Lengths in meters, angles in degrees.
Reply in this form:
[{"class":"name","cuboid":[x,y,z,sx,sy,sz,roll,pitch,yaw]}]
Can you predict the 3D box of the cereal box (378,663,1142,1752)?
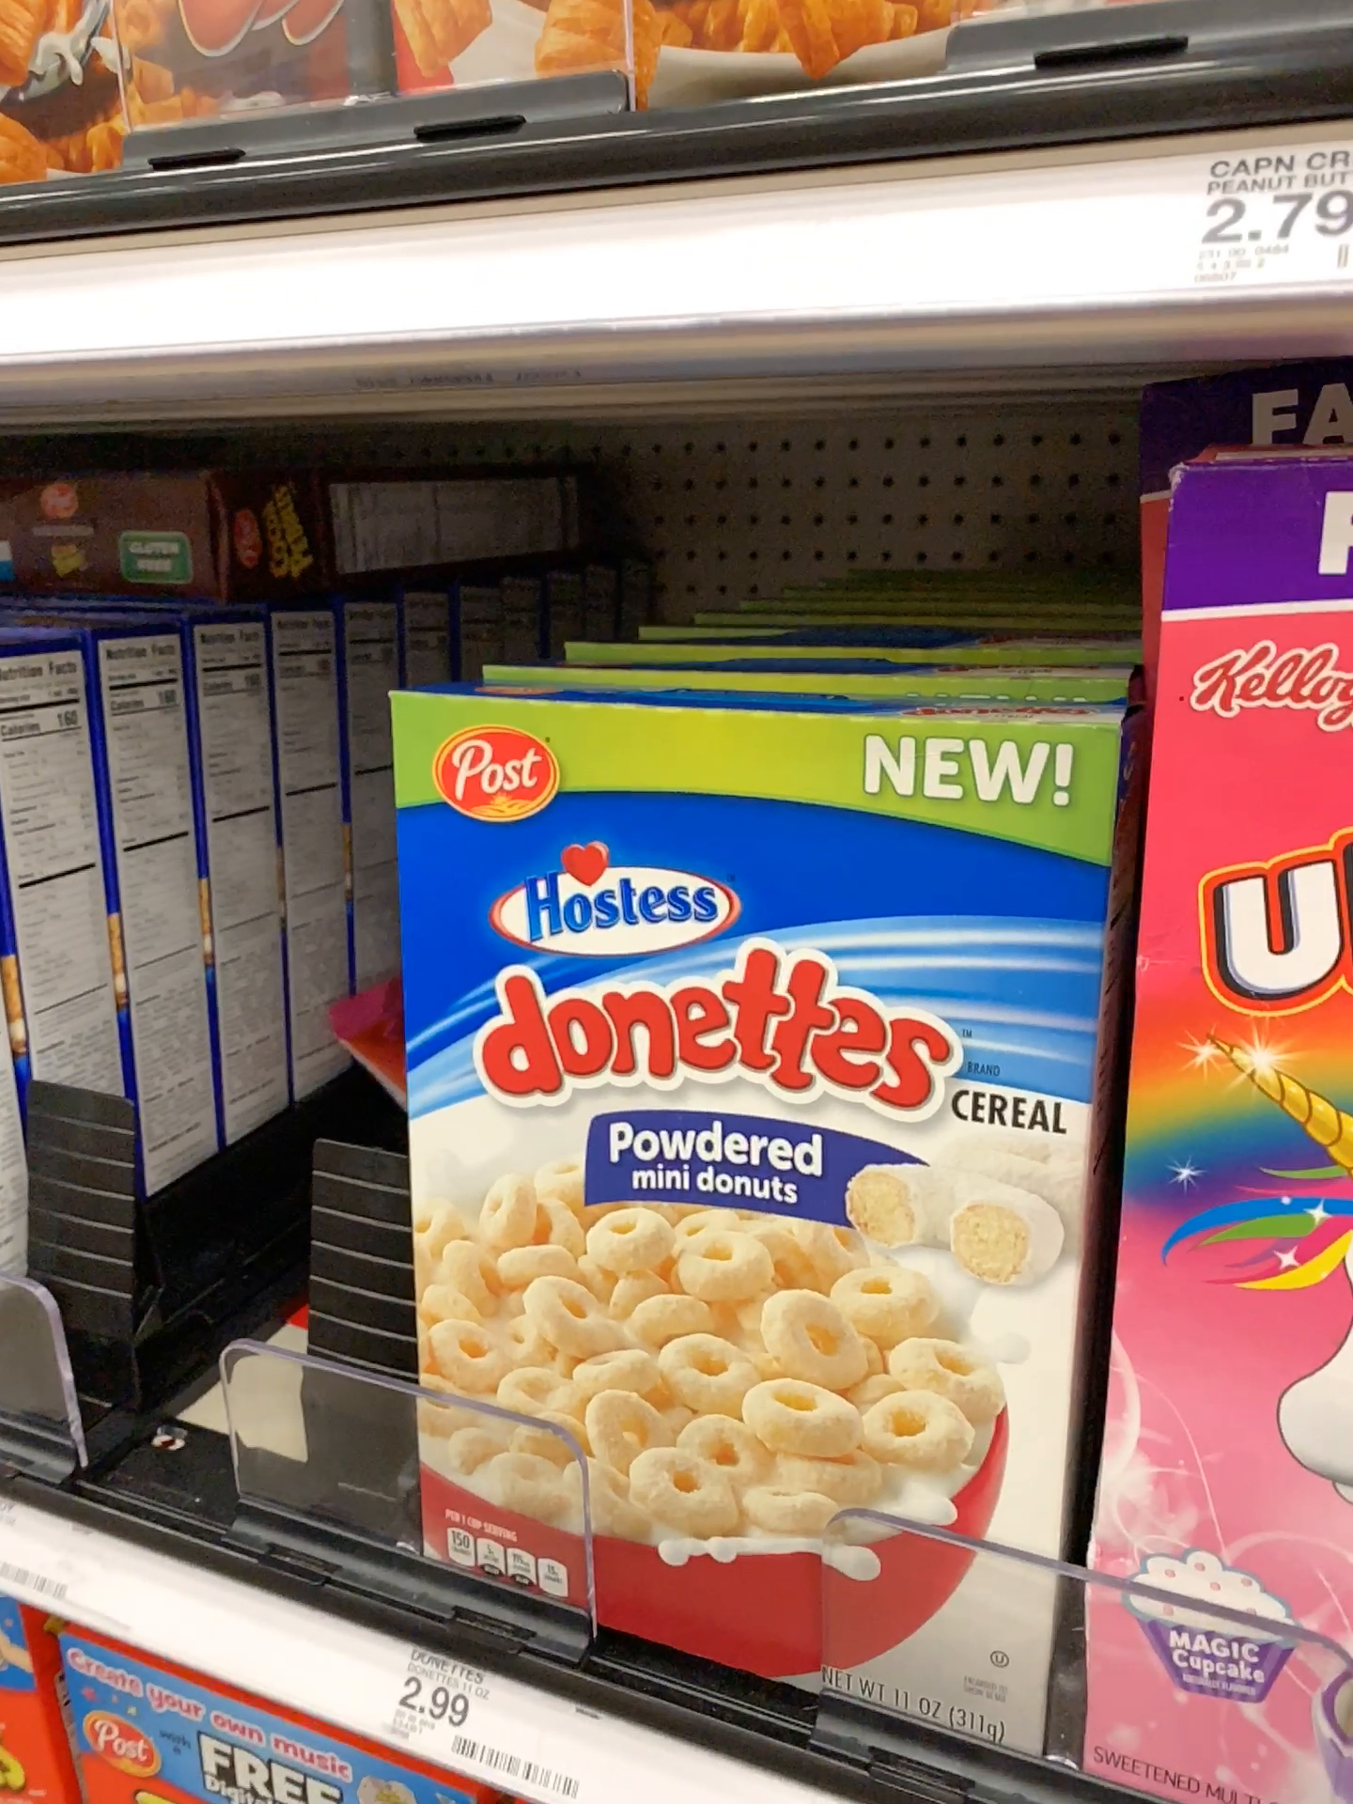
[{"class":"cereal box","cuboid":[0.018,0.074,0.396,0.190,0.269,0.060,6,14,22]}]
